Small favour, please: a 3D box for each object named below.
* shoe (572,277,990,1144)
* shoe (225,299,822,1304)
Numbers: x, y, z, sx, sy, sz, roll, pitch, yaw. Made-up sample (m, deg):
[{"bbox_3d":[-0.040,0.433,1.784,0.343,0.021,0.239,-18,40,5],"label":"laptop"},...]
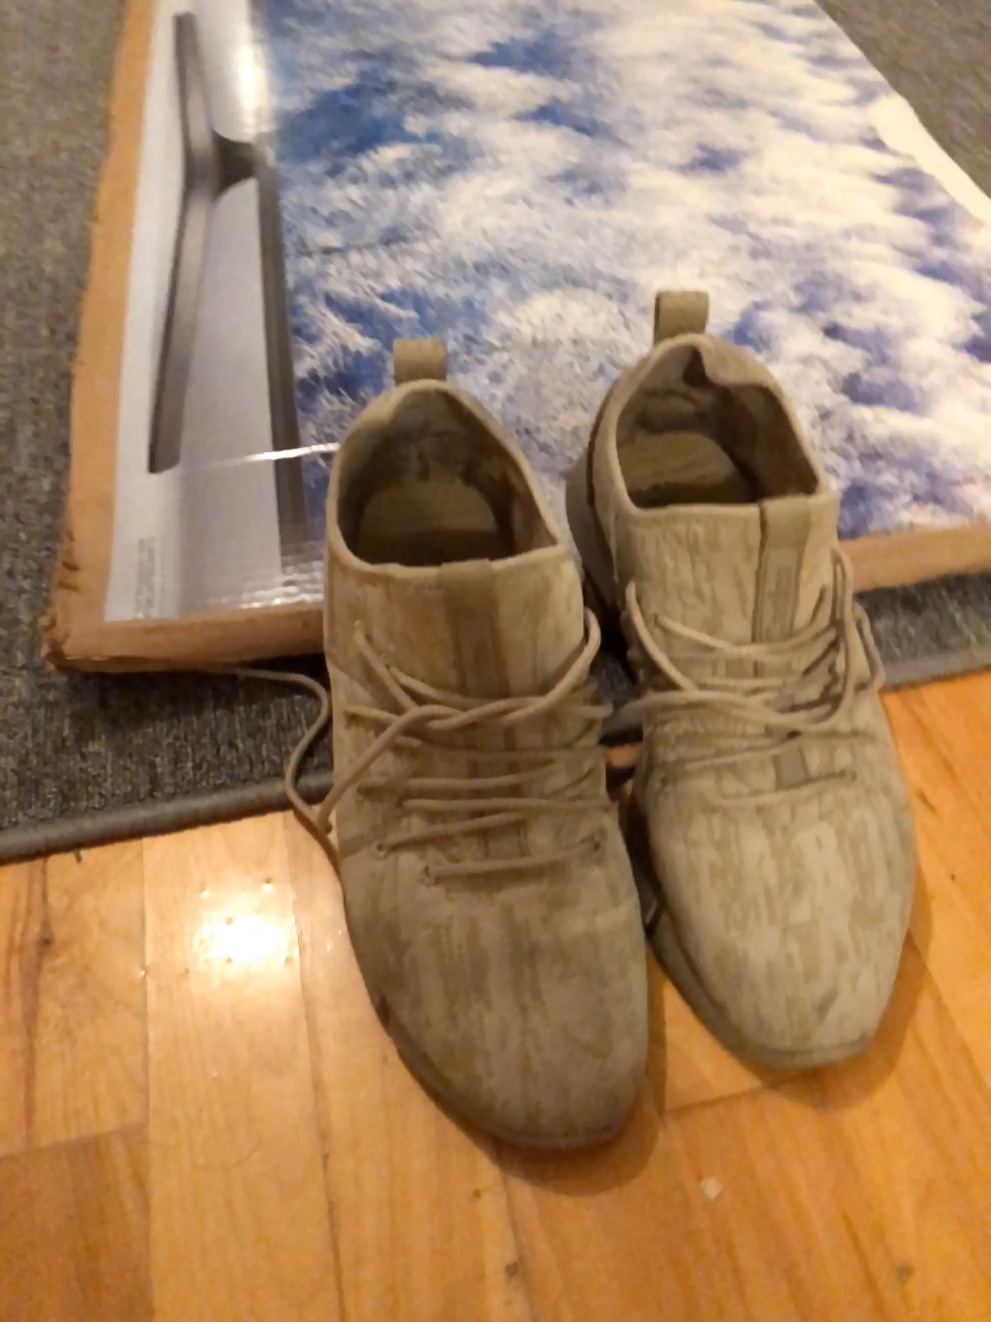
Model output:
[{"bbox_3d":[0.108,0.015,0.385,0.110,0.120,0.251,-7,78,-6],"label":"shoe"},{"bbox_3d":[-0.005,0.035,0.346,0.110,0.120,0.251,-10,75,-8],"label":"shoe"}]
